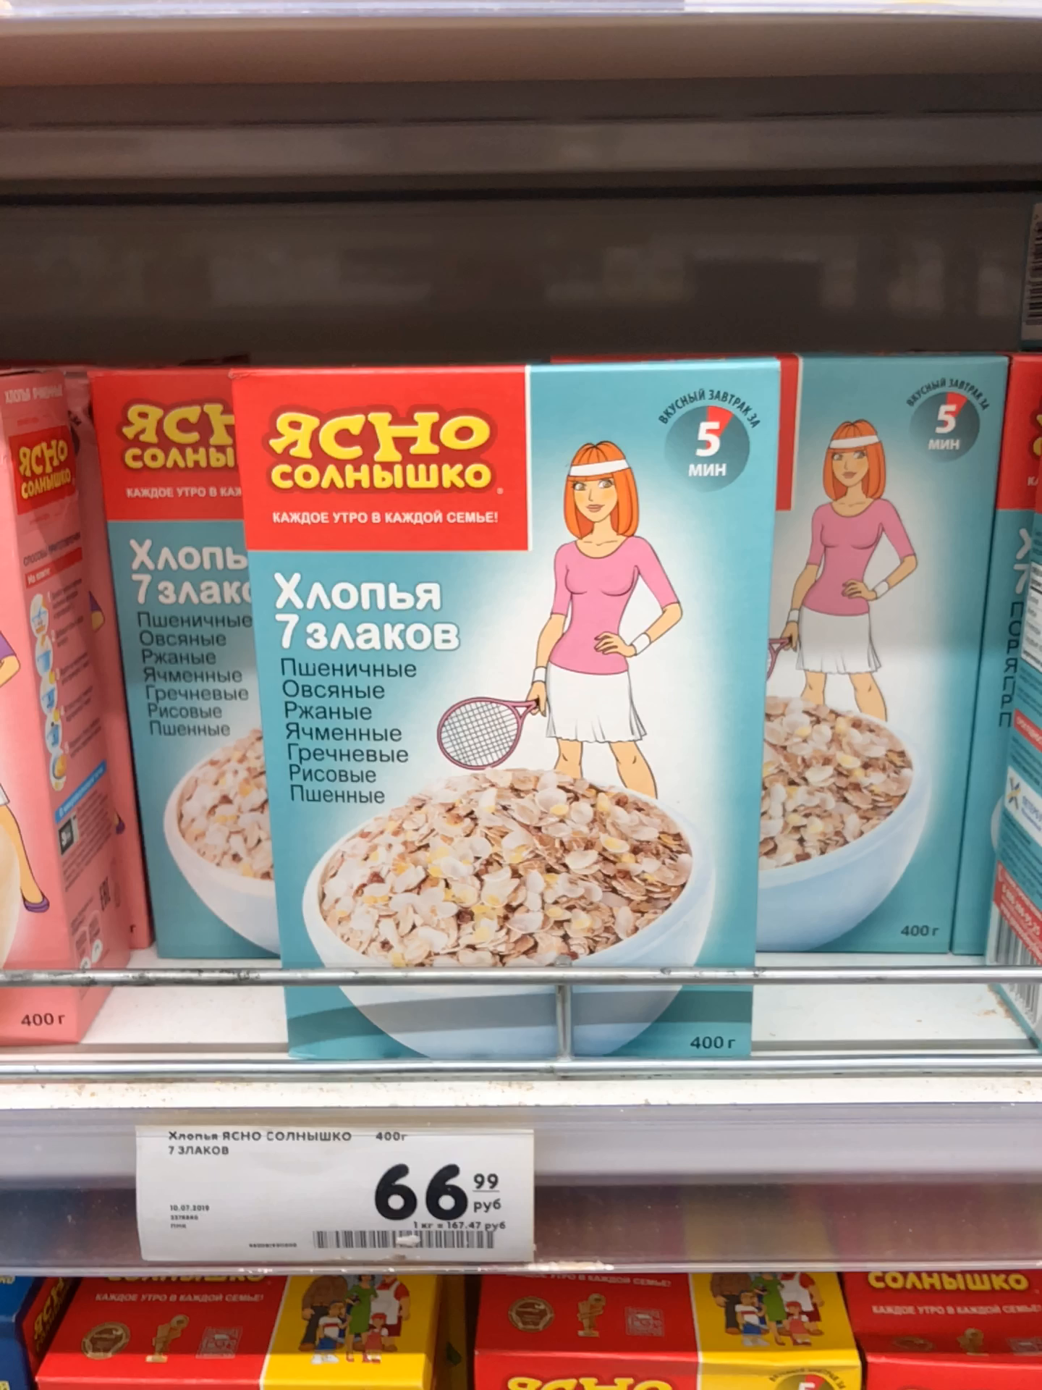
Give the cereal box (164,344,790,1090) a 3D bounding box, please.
[{"bbox_3d":[-0.008,0.007,0.310,0.140,0.189,0.050,0,16,3],"label":"cereal box"}]
